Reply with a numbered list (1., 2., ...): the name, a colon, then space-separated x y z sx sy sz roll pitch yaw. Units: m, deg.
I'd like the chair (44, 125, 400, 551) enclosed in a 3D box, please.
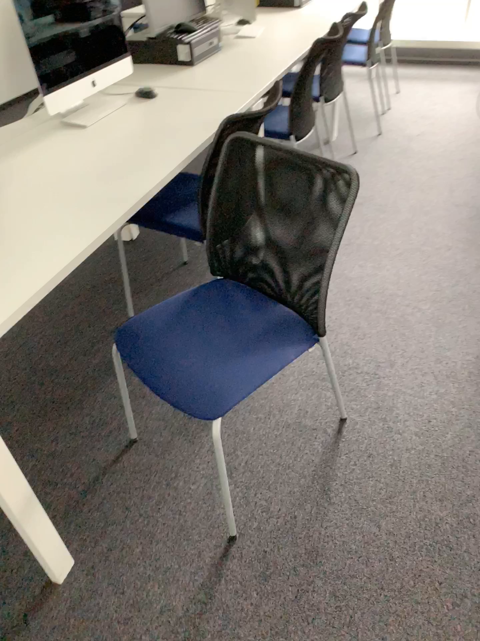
1. chair: -0.019 0.041 1.395 0.541 0.895 0.602 31 51 34
